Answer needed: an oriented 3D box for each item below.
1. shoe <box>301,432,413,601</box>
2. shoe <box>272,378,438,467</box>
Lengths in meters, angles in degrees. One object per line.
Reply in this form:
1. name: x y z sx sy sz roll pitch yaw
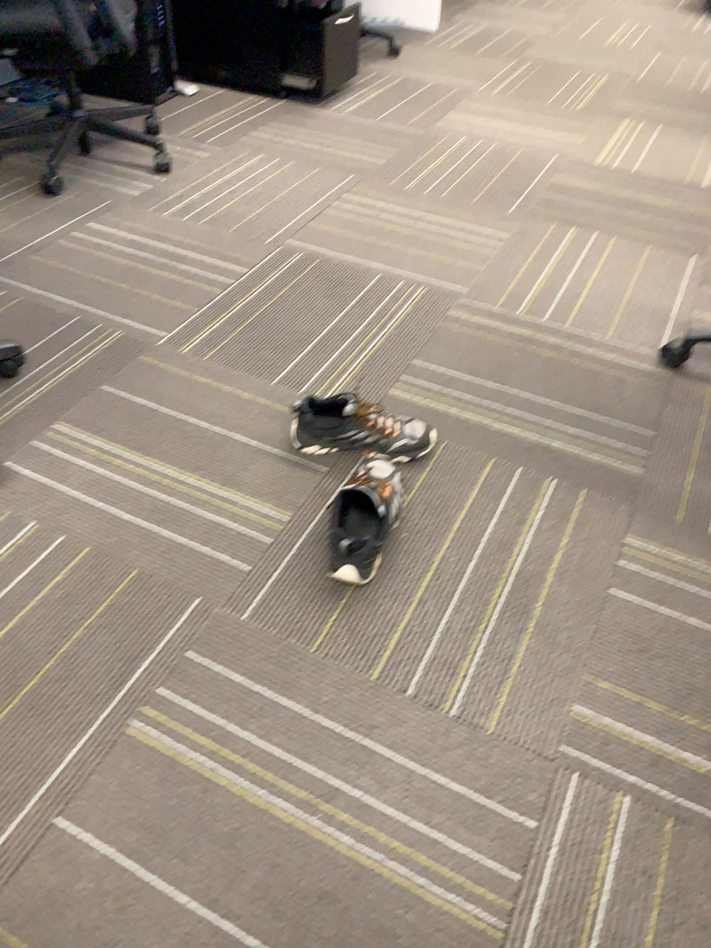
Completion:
1. shoe: 0.011 0.073 1.463 0.150 0.090 0.352 10 45 8
2. shoe: 0.002 -0.117 1.615 0.350 0.090 0.151 6 45 3
